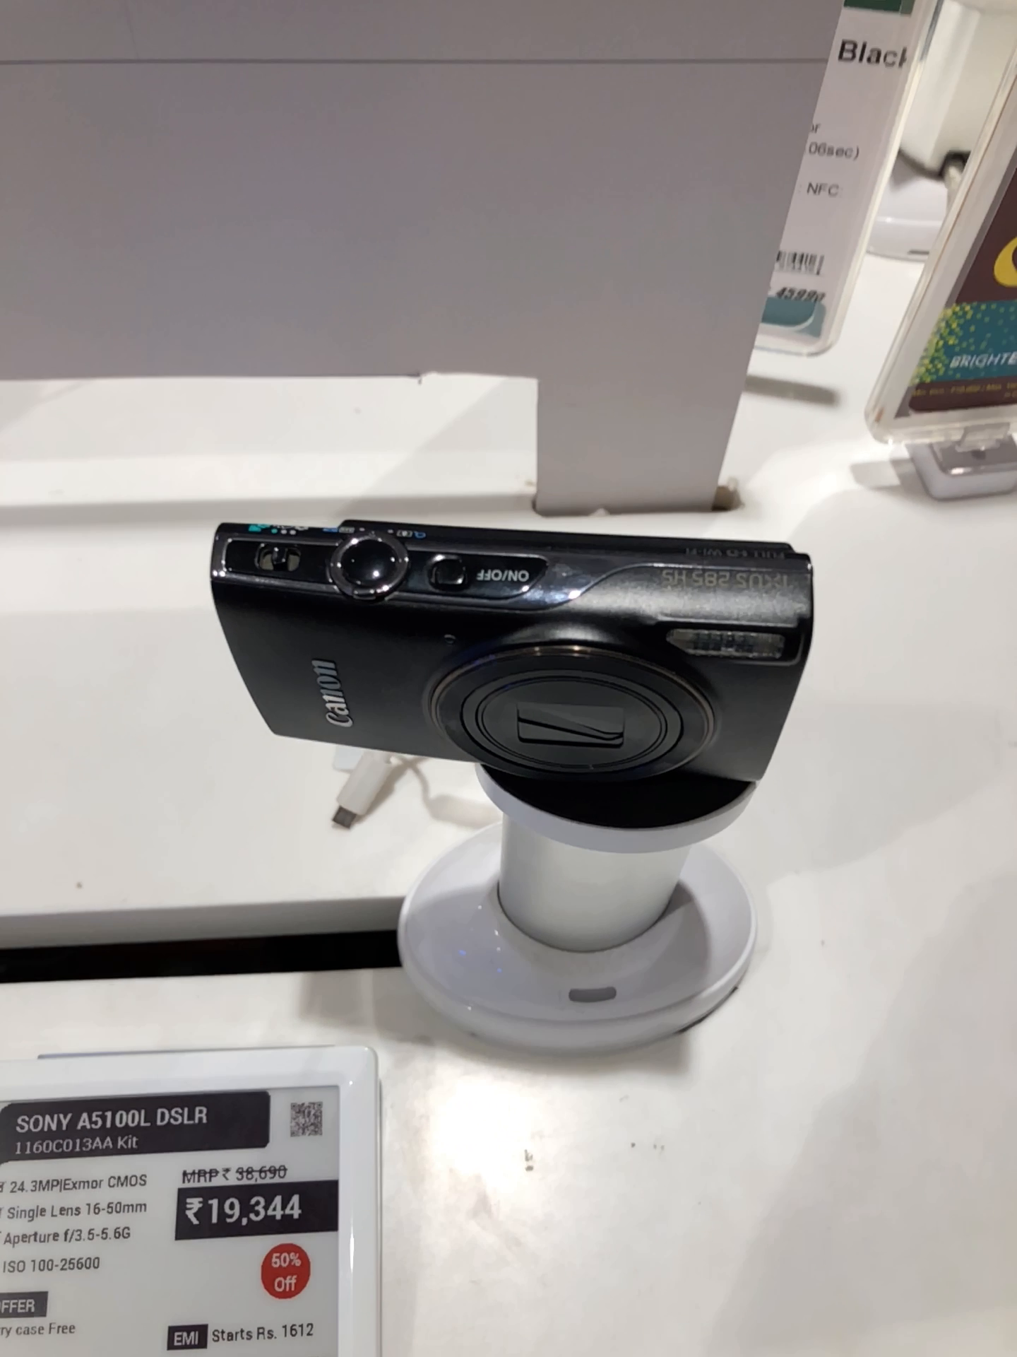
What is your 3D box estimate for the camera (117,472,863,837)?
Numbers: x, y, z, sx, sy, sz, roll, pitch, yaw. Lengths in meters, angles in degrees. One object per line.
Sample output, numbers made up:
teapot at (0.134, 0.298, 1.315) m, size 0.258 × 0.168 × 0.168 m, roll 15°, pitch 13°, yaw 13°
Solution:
camera at (-0.003, -0.001, 0.200) m, size 0.110 × 0.060 × 0.030 m, roll 4°, pitch 59°, yaw 1°
